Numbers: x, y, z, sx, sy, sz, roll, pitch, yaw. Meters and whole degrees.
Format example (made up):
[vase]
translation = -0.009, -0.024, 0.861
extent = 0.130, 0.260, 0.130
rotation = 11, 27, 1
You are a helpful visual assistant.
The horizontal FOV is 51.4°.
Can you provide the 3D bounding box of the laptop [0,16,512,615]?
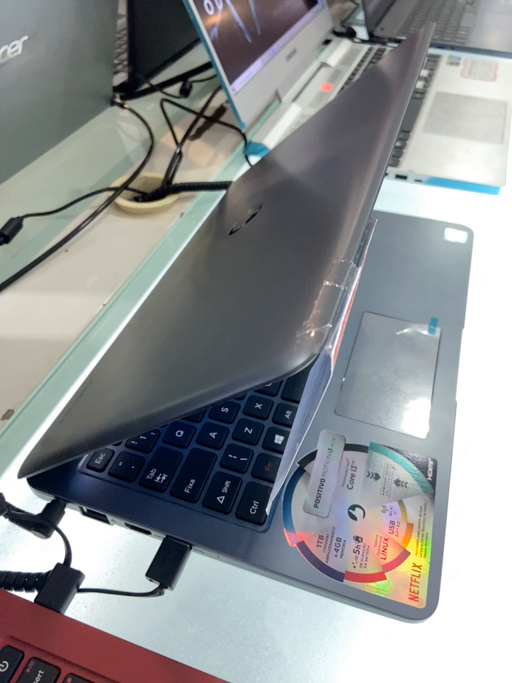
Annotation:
[laptop]
translation = 0.030, -0.061, 0.314
extent = 0.210, 0.145, 0.318
rotation = 13, 46, 13
